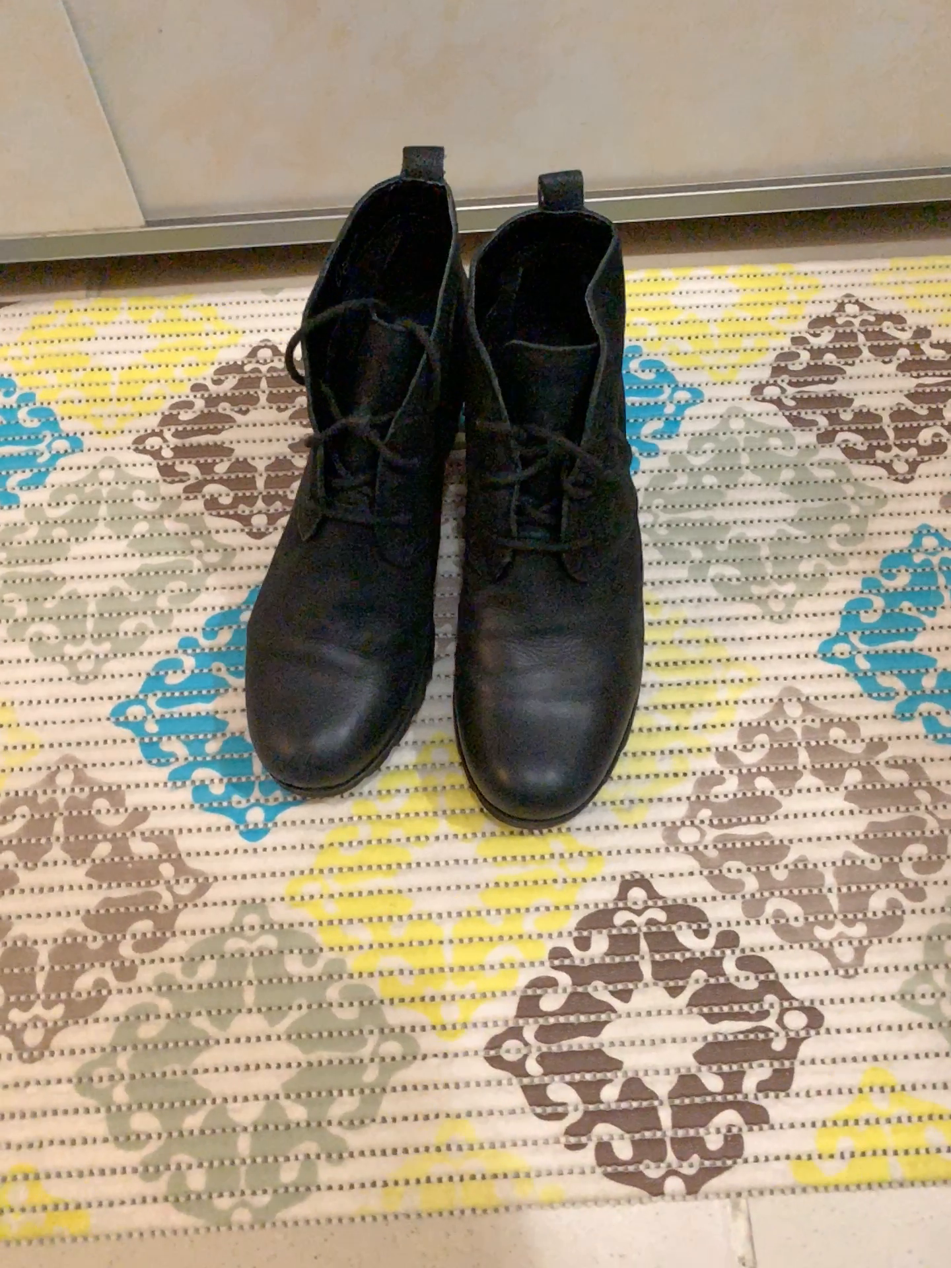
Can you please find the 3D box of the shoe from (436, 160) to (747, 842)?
[{"bbox_3d":[0.040,-0.049,0.400,0.090,0.150,0.230,2,65,1],"label":"shoe"}]

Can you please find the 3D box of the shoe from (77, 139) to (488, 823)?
[{"bbox_3d":[-0.058,-0.059,0.408,0.090,0.150,0.230,8,65,4],"label":"shoe"}]
